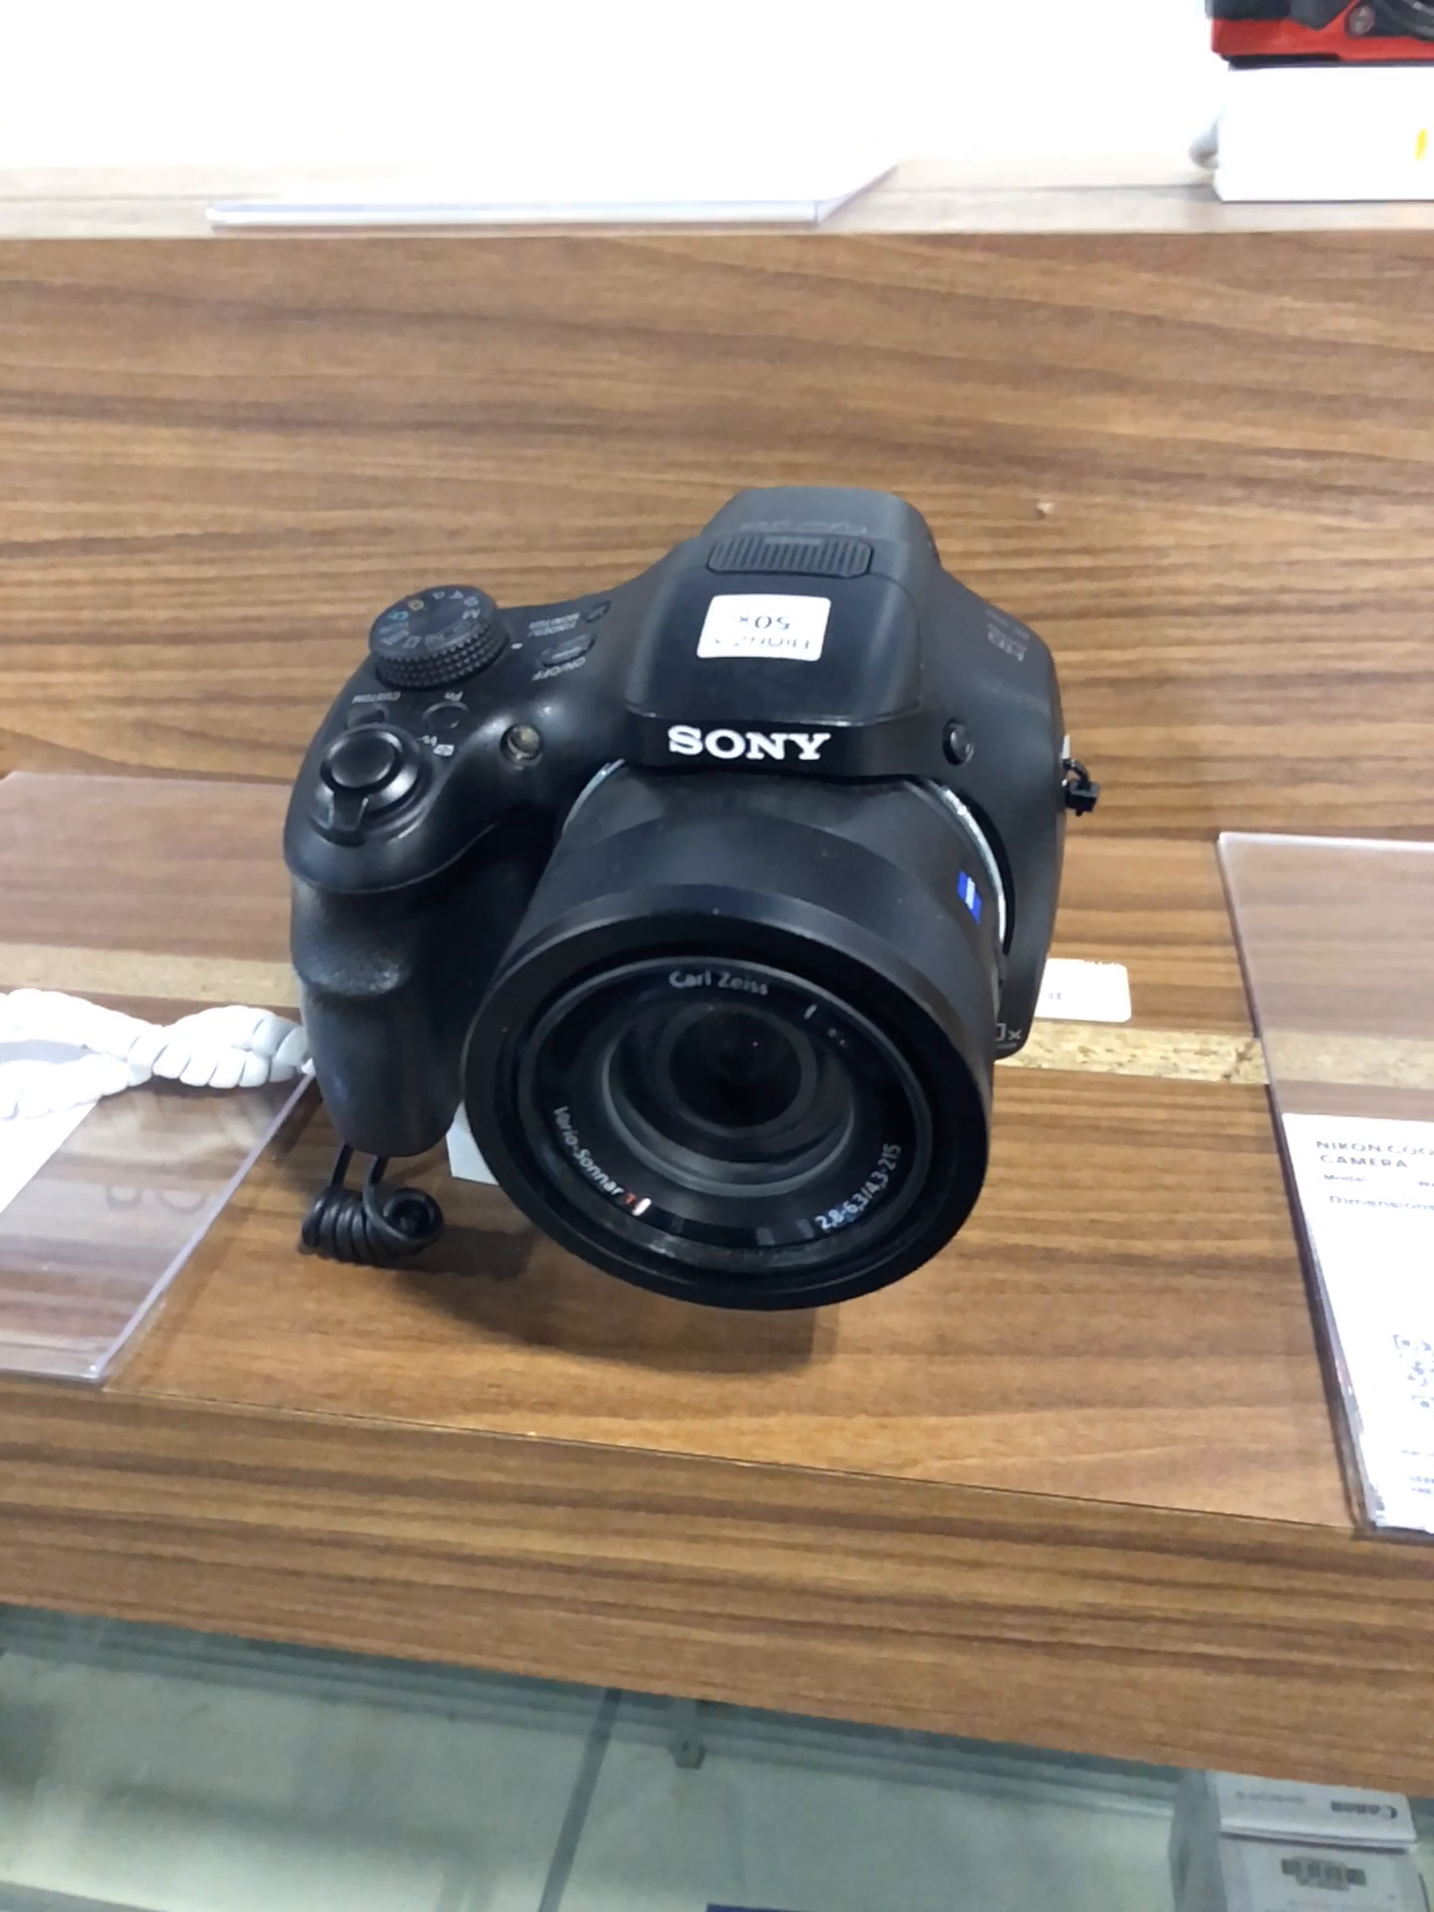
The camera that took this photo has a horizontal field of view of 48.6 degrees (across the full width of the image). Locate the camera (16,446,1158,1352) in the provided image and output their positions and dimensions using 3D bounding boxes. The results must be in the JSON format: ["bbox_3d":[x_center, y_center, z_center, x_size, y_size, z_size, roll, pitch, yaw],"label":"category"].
[{"bbox_3d":[-0.007,-0.022,0.255,0.130,0.089,0.131,3,29,8],"label":"camera"}]
